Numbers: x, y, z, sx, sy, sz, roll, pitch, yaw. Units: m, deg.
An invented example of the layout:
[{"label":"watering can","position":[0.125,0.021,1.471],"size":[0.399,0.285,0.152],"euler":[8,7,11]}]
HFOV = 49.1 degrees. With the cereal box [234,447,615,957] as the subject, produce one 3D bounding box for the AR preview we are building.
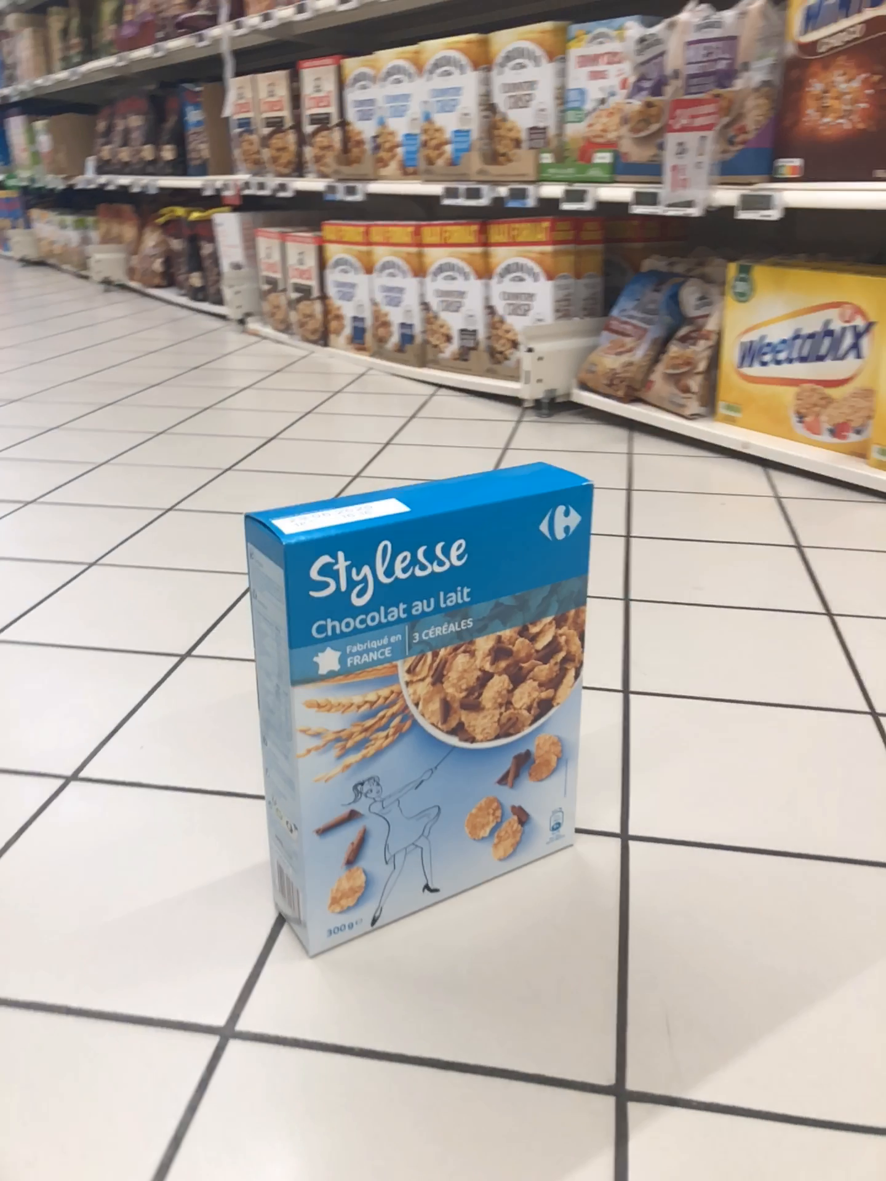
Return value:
[{"label":"cereal box","position":[-0.006,0.058,0.574],"size":[0.201,0.249,0.070],"euler":[-13,25,-30]}]
